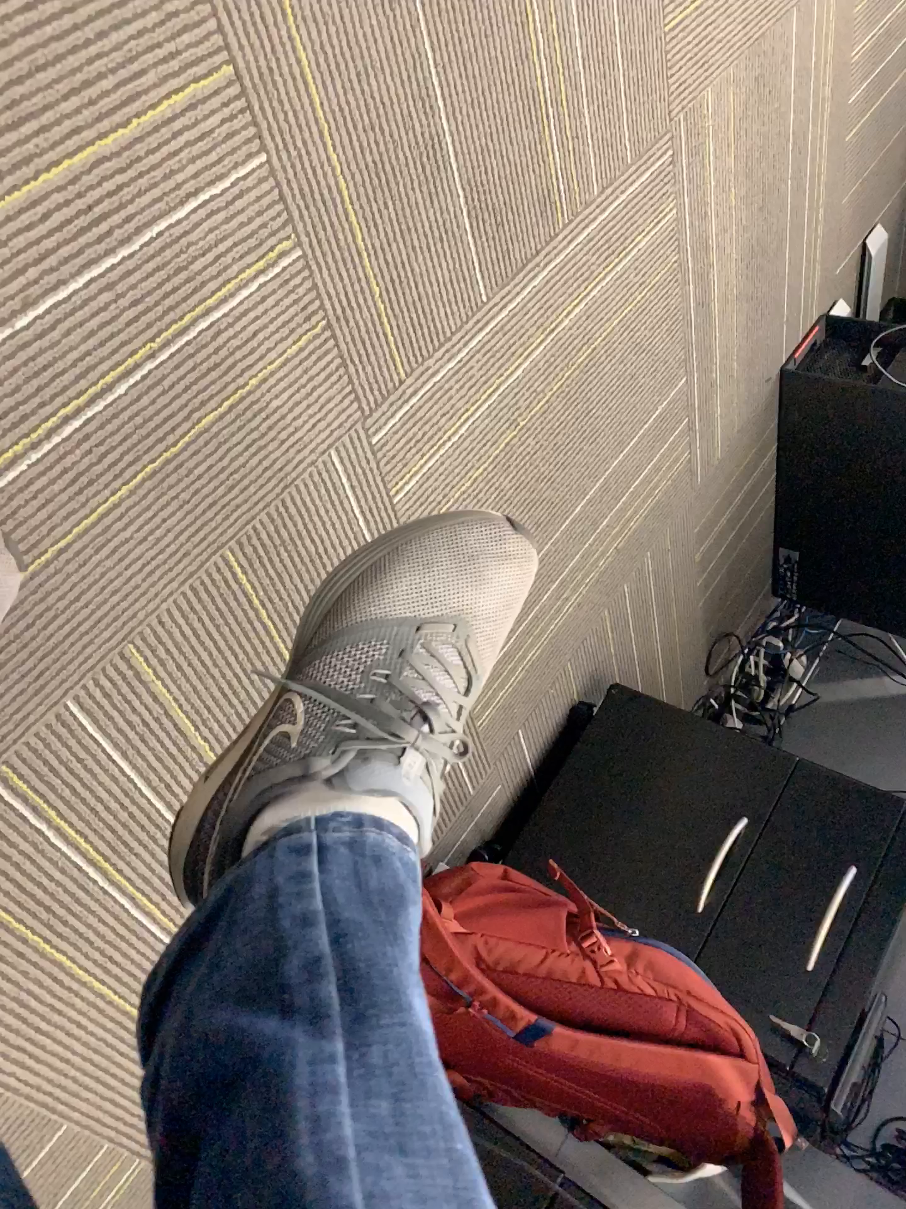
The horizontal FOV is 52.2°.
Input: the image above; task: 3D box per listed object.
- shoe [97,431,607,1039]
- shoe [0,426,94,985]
[{"bbox_3d":[-0.052,0.064,0.538,0.127,0.115,0.297,39,69,-24],"label":"shoe"},{"bbox_3d":[-0.424,0.032,0.567,0.310,0.179,0.124,-42,139,-35],"label":"shoe"}]
